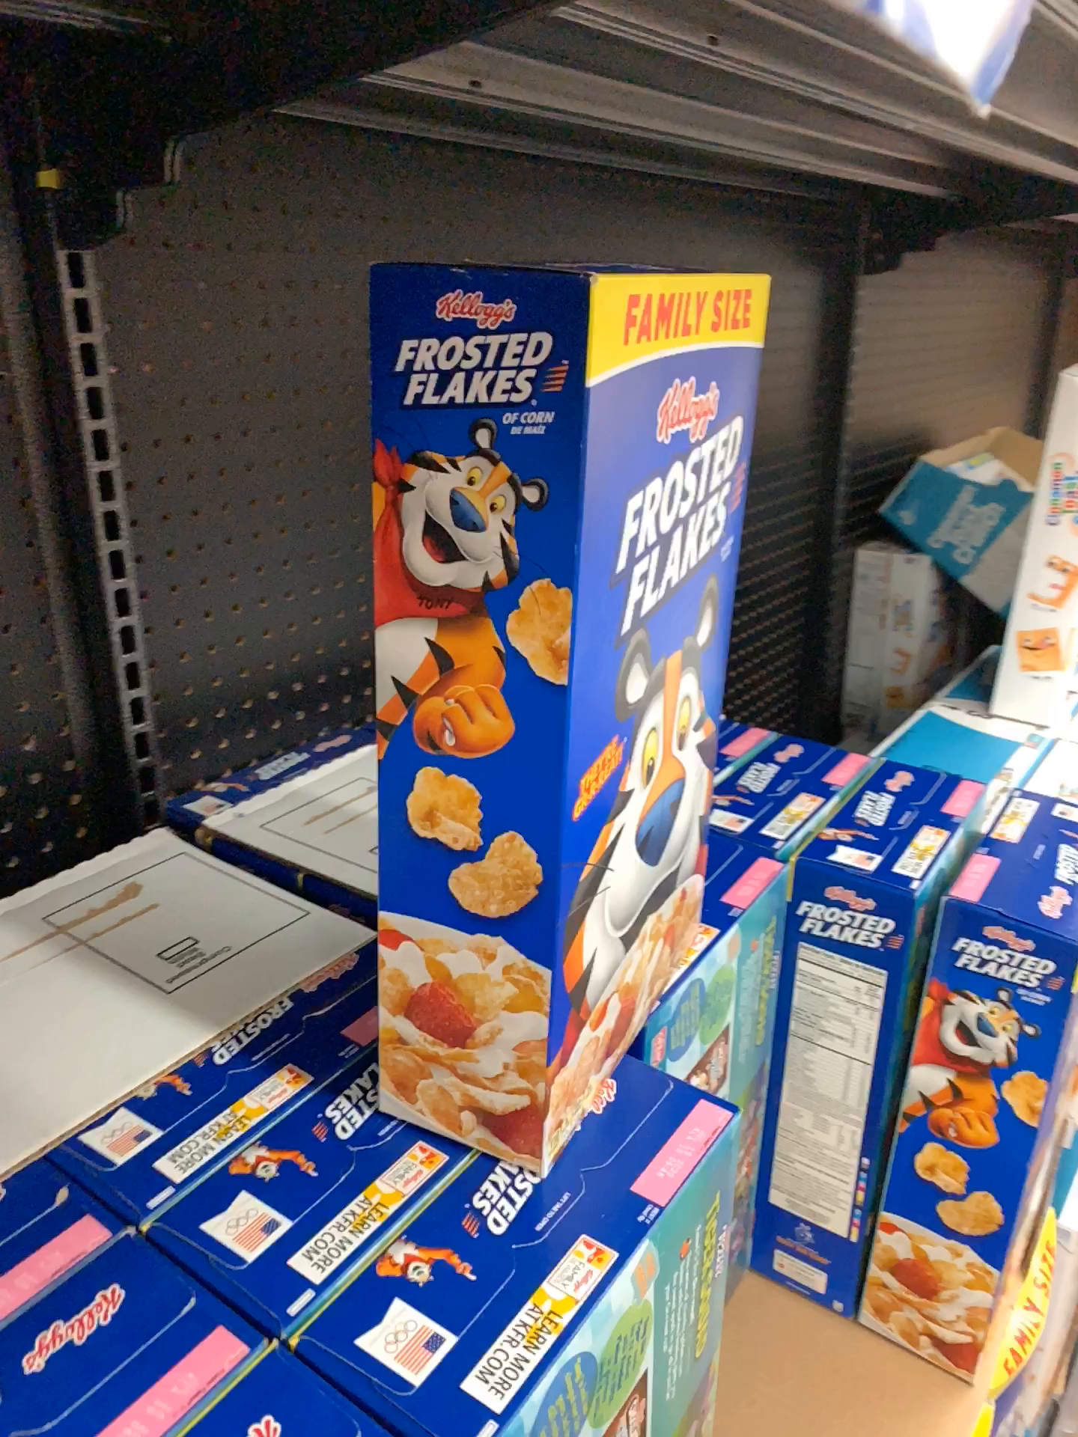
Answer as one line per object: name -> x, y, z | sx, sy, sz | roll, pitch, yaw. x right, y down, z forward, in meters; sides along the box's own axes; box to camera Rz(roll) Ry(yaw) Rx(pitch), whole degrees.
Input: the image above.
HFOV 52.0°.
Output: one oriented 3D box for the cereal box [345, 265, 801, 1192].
cereal box -> 0.020, -0.013, 0.458 | 0.080, 0.319, 0.211 | 13, 24, 25
